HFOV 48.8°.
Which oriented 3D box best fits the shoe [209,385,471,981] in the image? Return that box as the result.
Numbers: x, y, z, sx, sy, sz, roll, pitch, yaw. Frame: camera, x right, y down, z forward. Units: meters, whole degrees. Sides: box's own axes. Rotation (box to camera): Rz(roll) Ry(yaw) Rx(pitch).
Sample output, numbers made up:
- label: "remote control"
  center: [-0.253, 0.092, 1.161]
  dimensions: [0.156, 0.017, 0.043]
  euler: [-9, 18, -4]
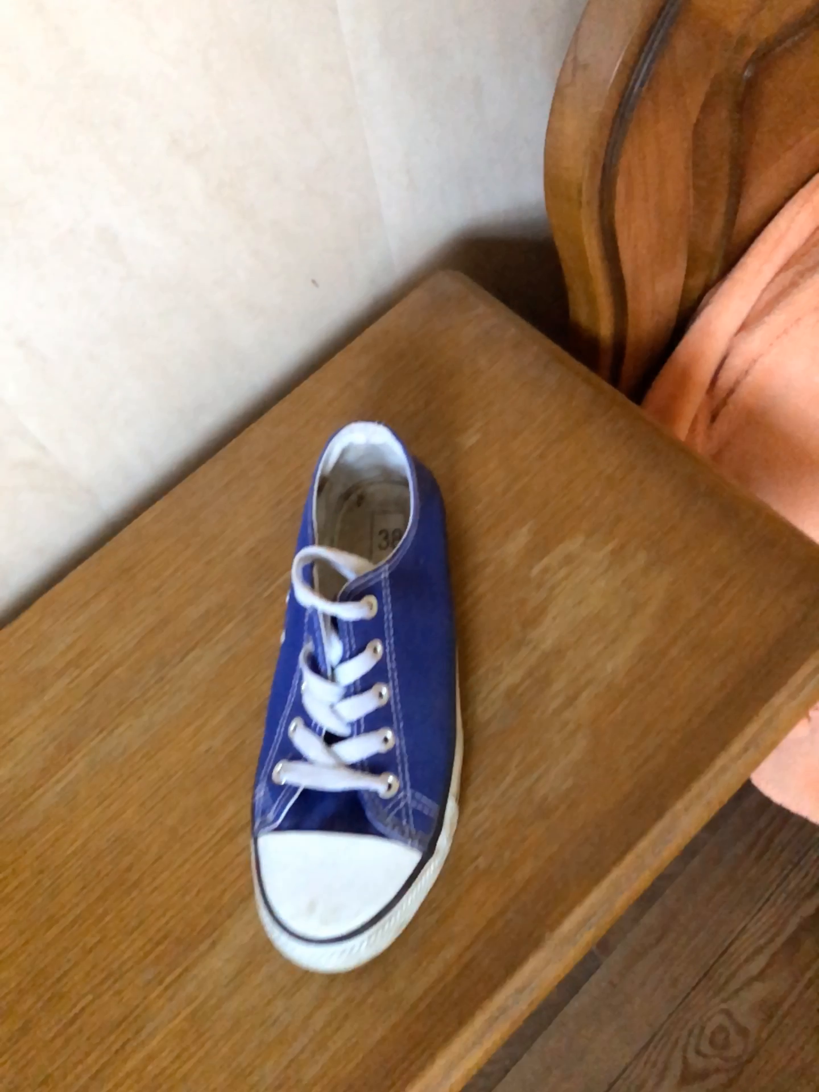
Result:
- label: "shoe"
  center: [-0.022, 0.060, 0.427]
  dimensions: [0.090, 0.090, 0.261]
  euler: [-3, 63, 7]
